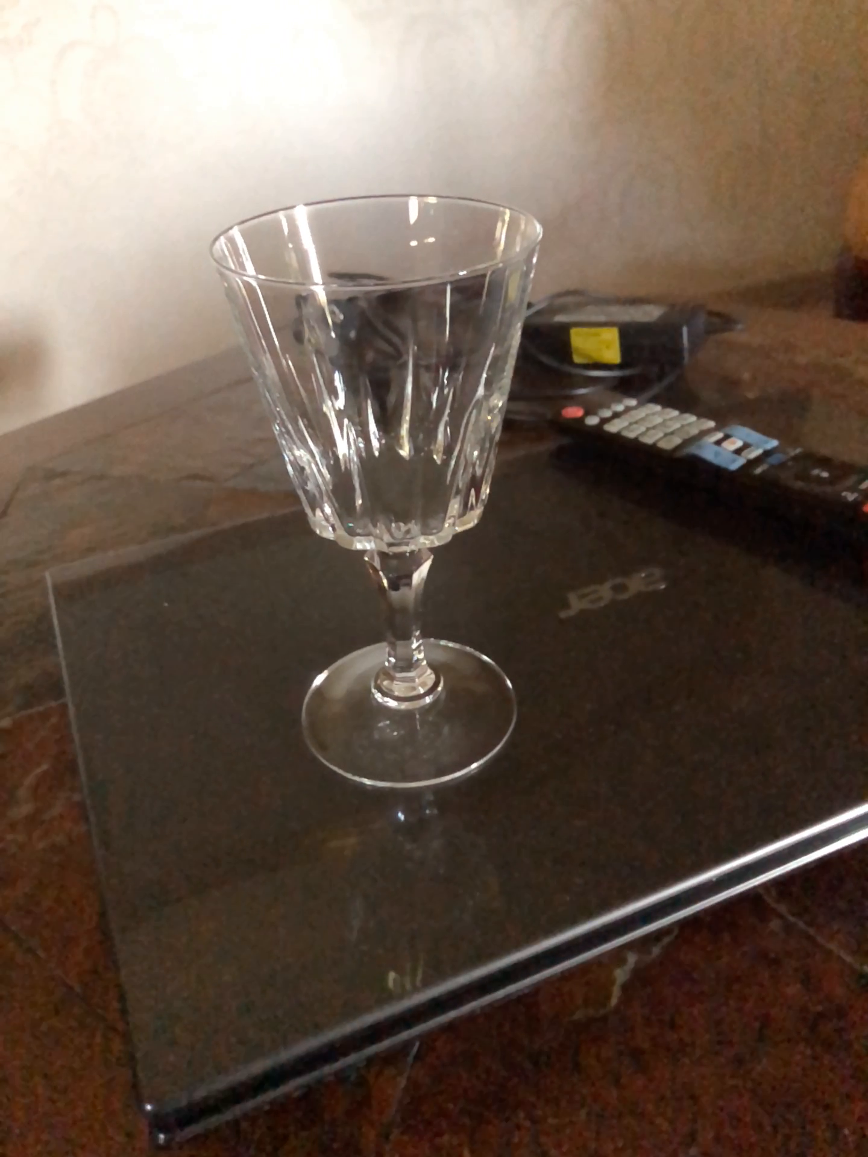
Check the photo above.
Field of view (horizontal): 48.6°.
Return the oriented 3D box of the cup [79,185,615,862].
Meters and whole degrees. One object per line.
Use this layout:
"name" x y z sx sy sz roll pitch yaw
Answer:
"cup" -0.013 -0.022 0.288 0.100 0.159 0.101 -3 32 2
